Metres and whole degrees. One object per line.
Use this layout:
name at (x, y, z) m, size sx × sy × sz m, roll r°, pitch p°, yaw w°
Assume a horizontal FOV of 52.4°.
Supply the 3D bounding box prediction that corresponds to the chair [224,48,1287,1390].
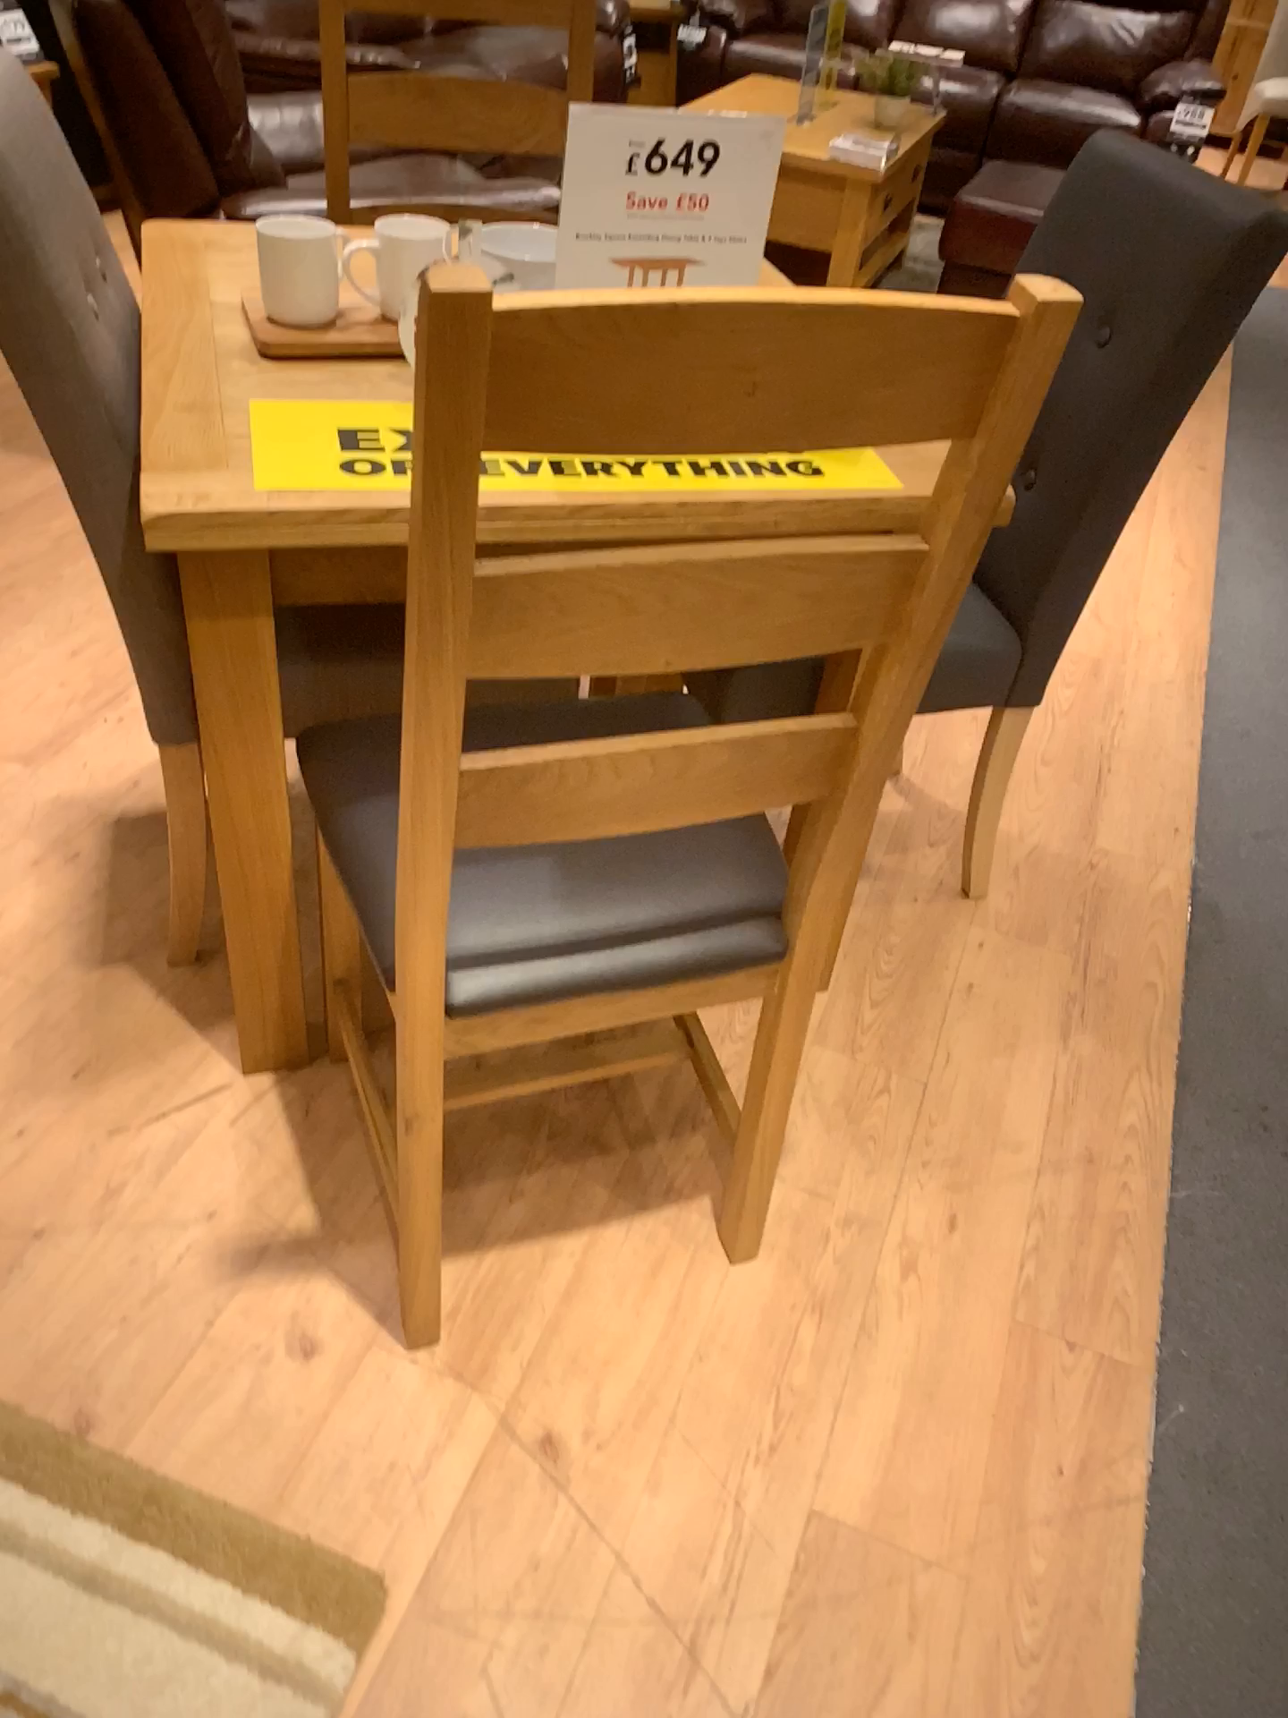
chair at (-0.028, -0.111, 1.200) m, size 0.555 × 0.958 × 0.581 m, roll -8°, pitch 41°, yaw -22°
